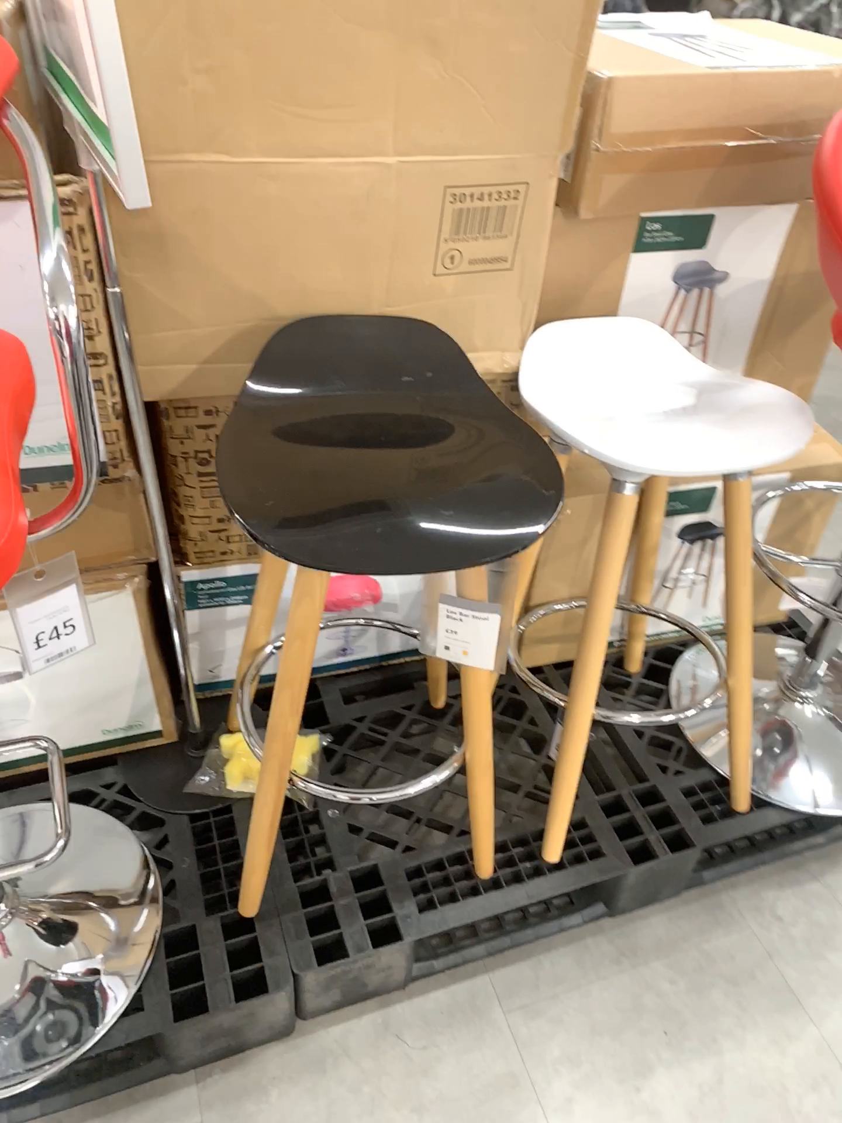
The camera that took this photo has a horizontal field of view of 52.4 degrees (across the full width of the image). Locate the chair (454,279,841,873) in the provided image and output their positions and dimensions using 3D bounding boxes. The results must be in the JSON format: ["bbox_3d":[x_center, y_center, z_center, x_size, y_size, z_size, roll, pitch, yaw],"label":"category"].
[{"bbox_3d":[0.330,0.028,1.265,0.384,0.721,0.420,-9,41,-16],"label":"chair"}]

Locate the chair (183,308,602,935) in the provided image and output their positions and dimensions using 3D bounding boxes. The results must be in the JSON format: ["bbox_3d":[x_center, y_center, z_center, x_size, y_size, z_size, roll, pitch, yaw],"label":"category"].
[{"bbox_3d":[-0.080,0.094,1.146,0.384,0.721,0.400,-5,40,-12],"label":"chair"}]

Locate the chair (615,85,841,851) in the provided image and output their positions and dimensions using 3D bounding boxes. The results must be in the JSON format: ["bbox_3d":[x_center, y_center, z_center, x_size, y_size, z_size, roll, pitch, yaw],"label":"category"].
[{"bbox_3d":[0.713,-0.111,1.278,0.474,0.978,0.480,-9,41,-16],"label":"chair"}]
